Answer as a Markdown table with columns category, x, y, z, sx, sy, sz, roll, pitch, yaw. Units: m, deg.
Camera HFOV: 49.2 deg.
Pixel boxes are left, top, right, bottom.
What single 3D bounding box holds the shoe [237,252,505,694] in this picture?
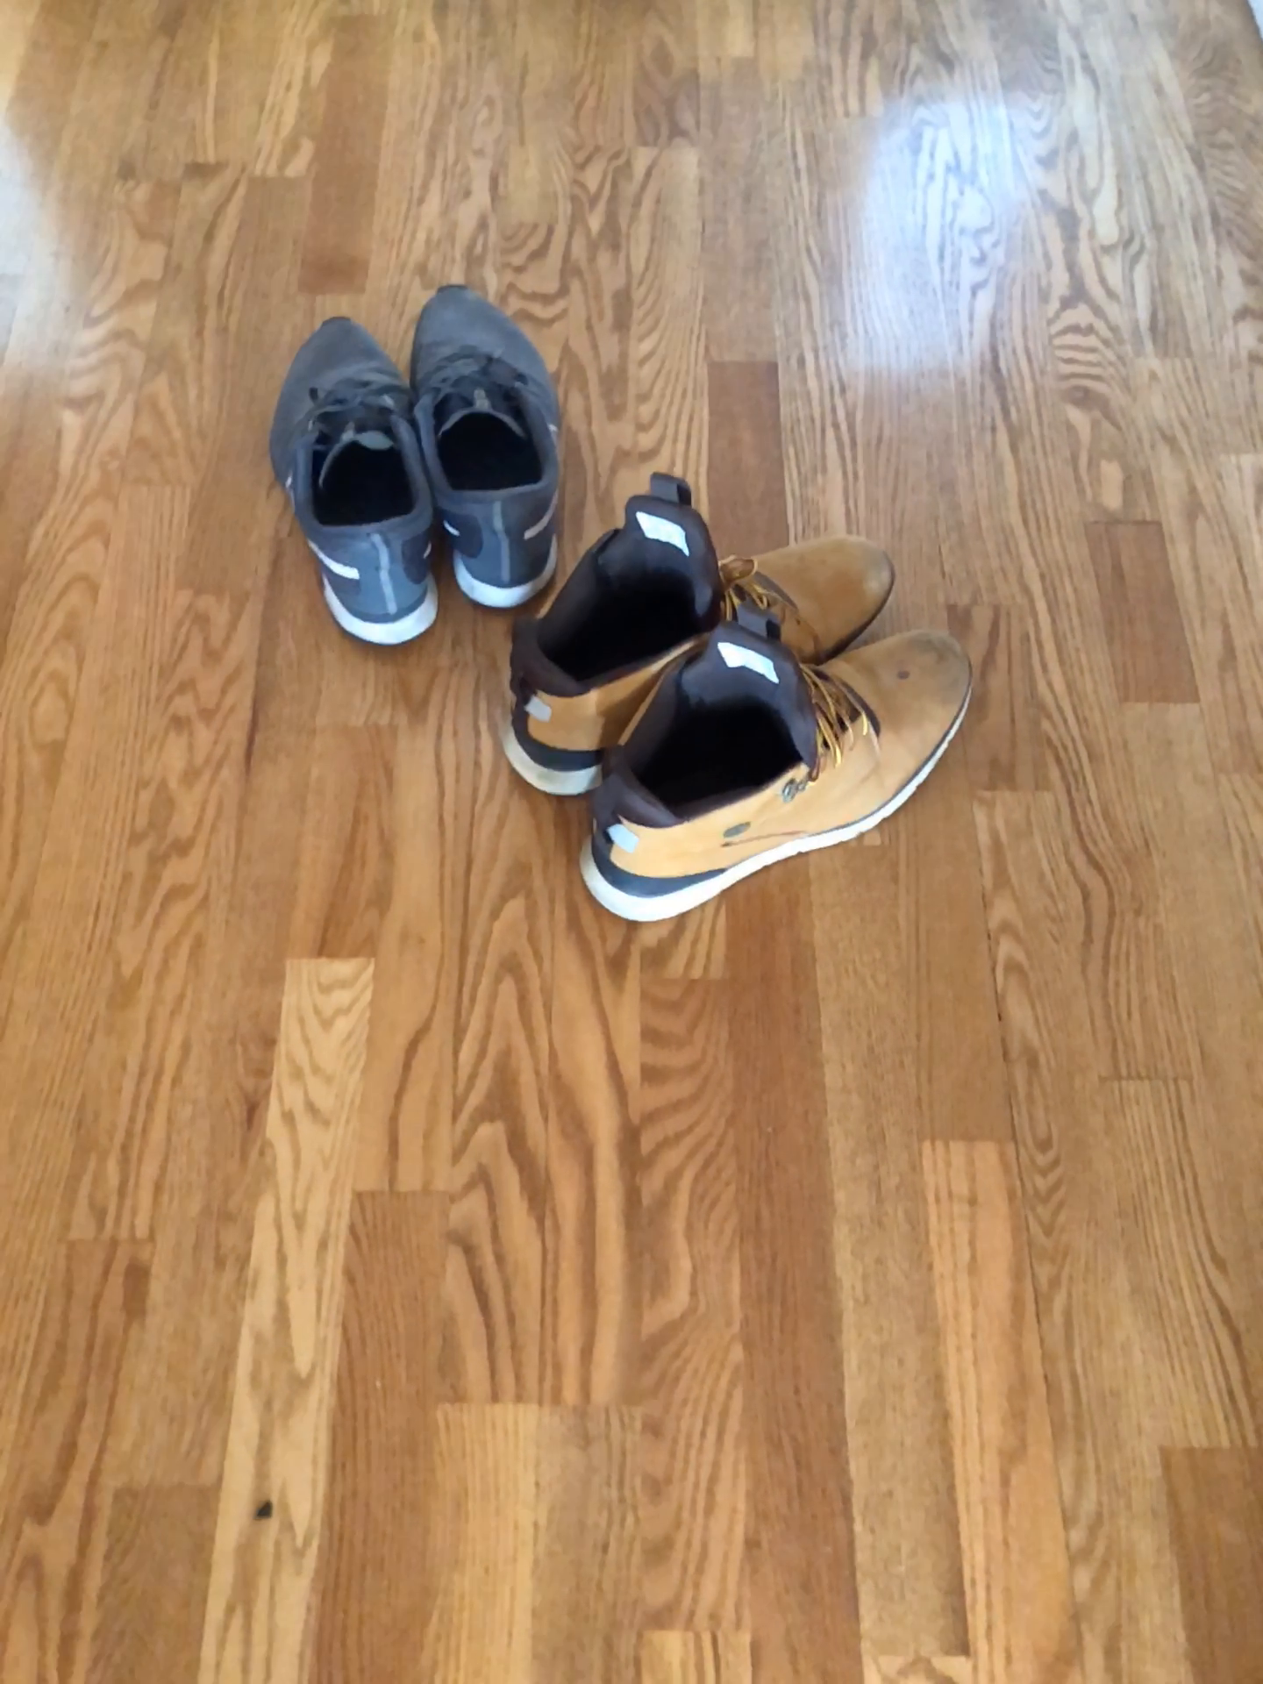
| category | x | y | z | sx | sy | sz | roll | pitch | yaw |
| --- | --- | --- | --- | --- | --- | --- | --- | --- | --- |
| shoe | -0.199 | -0.285 | 1.046 | 0.140 | 0.100 | 0.321 | -12 | 64 | -6 |

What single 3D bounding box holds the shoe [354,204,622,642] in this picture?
| category | x | y | z | sx | sy | sz | roll | pitch | yaw |
| --- | --- | --- | --- | --- | --- | --- | --- | --- | --- |
| shoe | -0.113 | -0.330 | 1.070 | 0.140 | 0.100 | 0.331 | -12 | 64 | -6 |

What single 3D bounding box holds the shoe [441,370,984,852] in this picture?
| category | x | y | z | sx | sy | sz | roll | pitch | yaw |
| --- | --- | --- | --- | --- | --- | --- | --- | --- | --- |
| shoe | 0.053 | -0.154 | 0.915 | 0.320 | 0.140 | 0.130 | -32 | 68 | -15 |

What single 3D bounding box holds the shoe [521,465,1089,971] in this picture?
| category | x | y | z | sx | sy | sz | roll | pitch | yaw |
| --- | --- | --- | --- | --- | --- | --- | --- | --- | --- |
| shoe | 0.105 | -0.079 | 0.872 | 0.320 | 0.140 | 0.130 | -32 | 68 | -15 |
